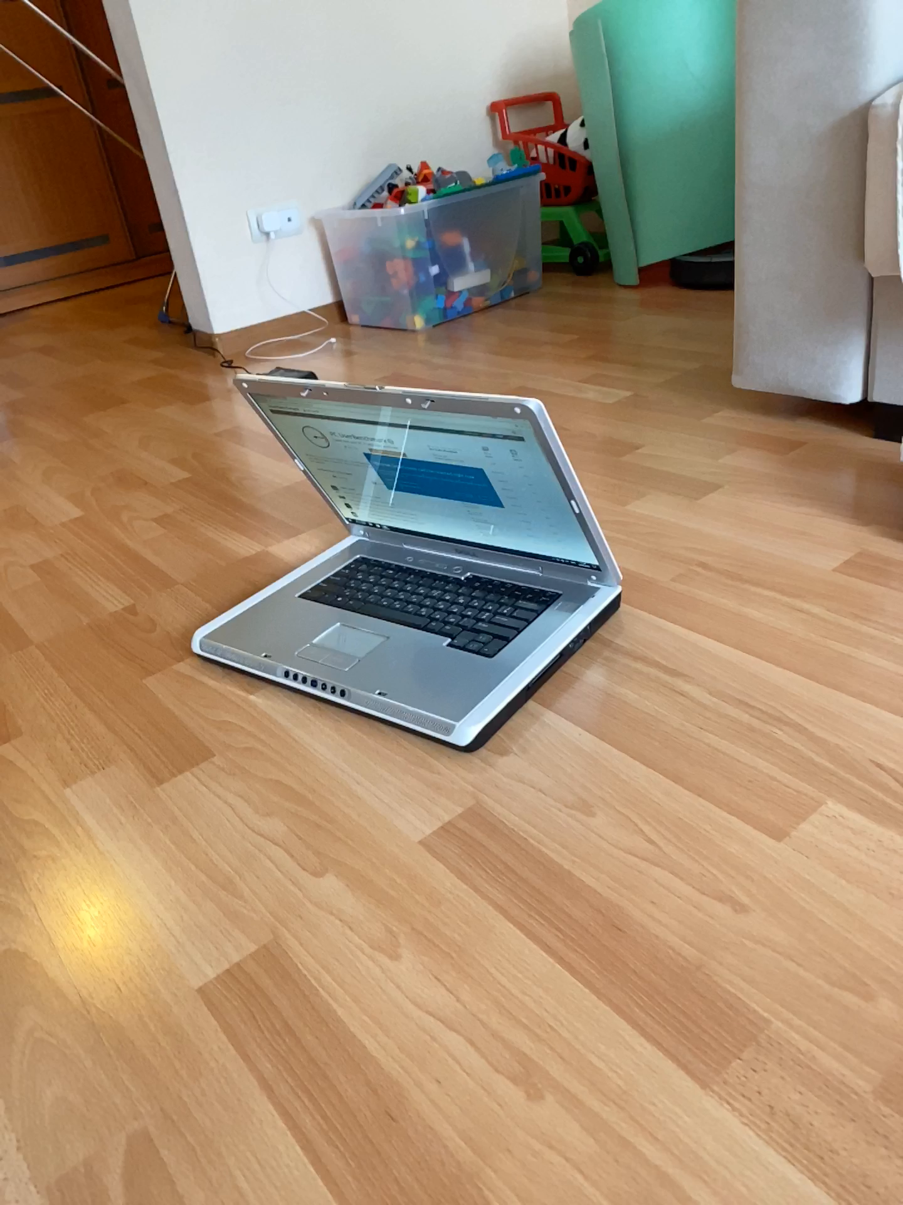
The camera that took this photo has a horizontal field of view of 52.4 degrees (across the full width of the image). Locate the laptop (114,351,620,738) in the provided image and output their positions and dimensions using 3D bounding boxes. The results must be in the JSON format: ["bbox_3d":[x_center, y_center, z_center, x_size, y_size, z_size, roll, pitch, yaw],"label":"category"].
[{"bbox_3d":[-0.075,-0.090,0.921,0.387,0.238,0.274,13,35,35],"label":"laptop"}]
